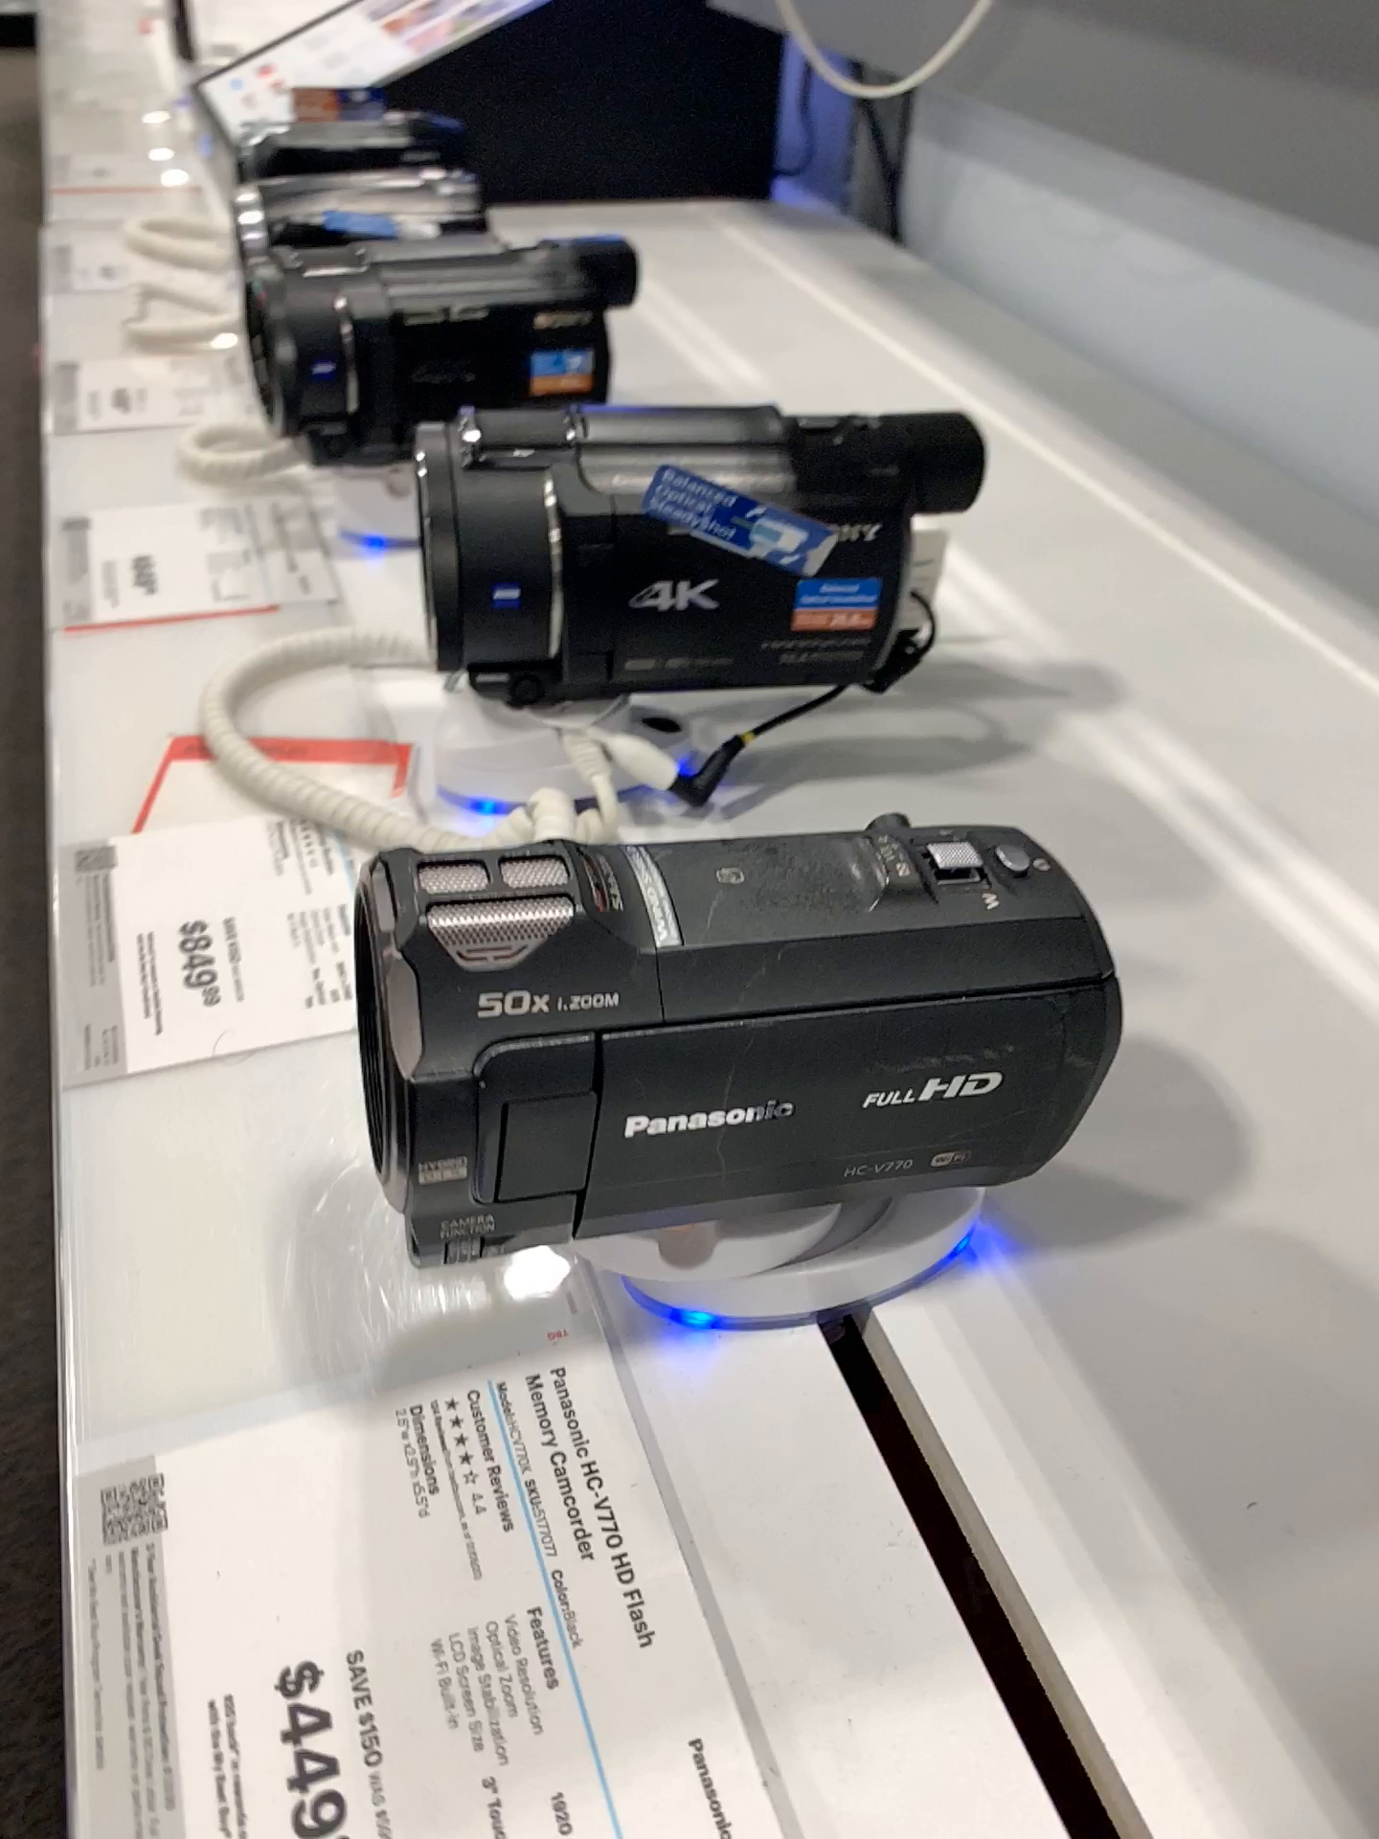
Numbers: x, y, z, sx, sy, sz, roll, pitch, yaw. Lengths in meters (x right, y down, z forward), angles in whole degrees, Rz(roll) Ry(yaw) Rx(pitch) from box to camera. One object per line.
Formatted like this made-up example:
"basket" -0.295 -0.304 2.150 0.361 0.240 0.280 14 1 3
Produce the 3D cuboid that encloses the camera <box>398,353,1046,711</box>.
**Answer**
"camera" 0.004 -0.114 0.414 0.166 0.073 0.071 -5 40 -14

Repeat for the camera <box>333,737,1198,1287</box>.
"camera" 0.009 0.012 0.267 0.139 0.061 0.065 -5 40 -19
